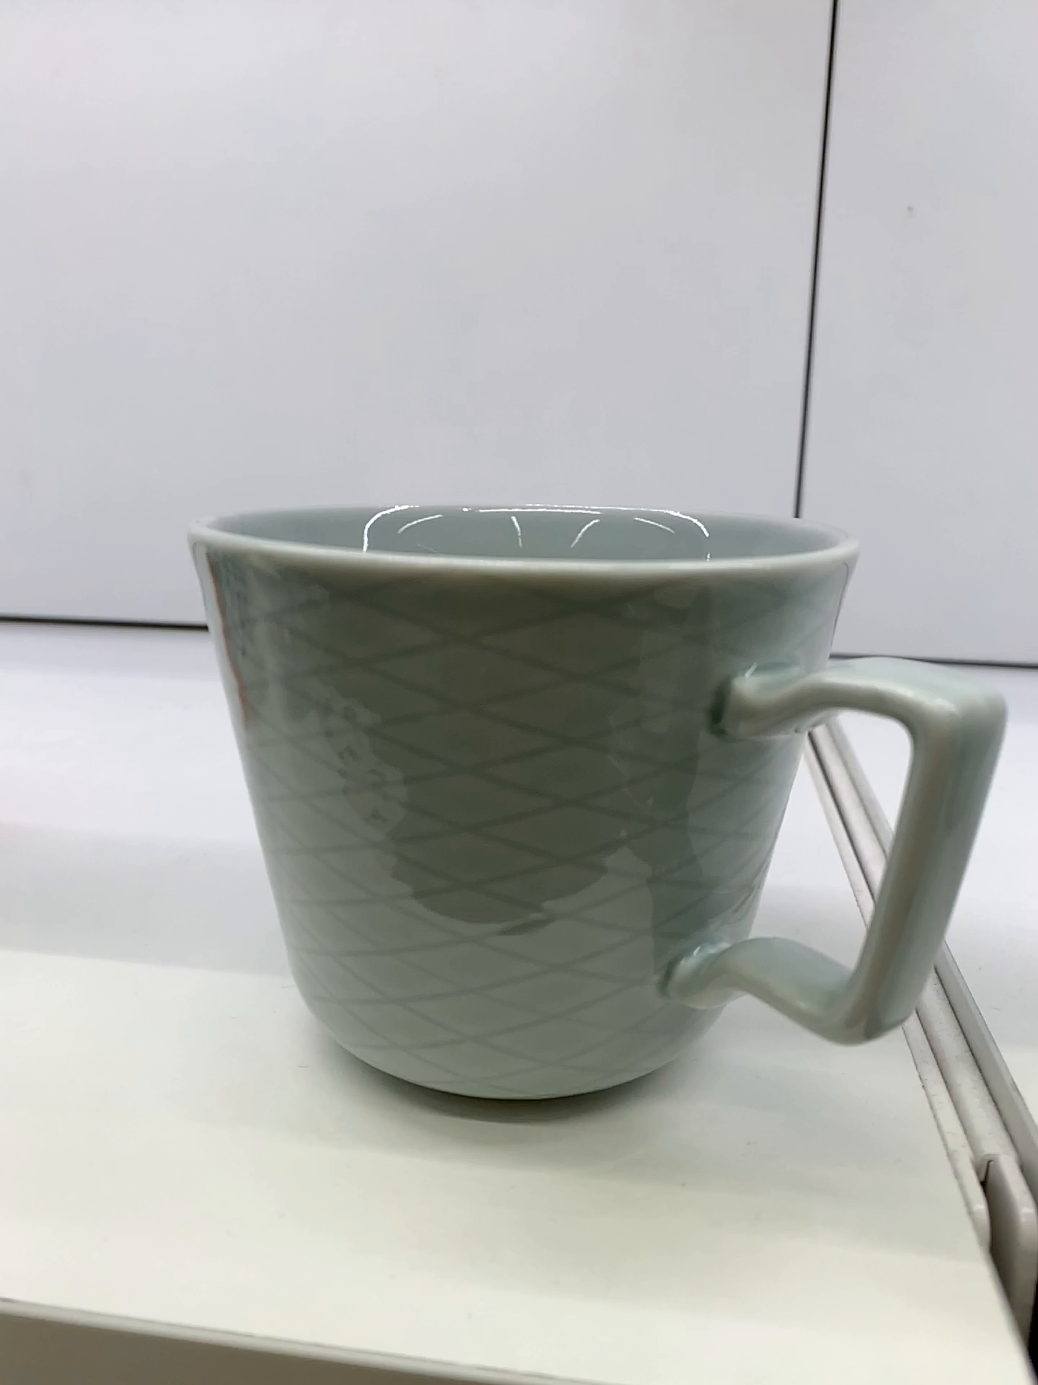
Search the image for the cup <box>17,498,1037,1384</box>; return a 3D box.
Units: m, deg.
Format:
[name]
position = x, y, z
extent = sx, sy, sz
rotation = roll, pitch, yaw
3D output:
[cup]
position = 0.004, 0.016, 0.174
extent = 0.124, 0.089, 0.109
rotation = 12, 16, 42
